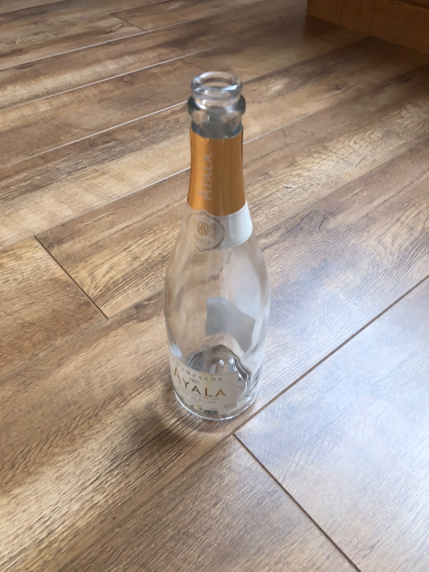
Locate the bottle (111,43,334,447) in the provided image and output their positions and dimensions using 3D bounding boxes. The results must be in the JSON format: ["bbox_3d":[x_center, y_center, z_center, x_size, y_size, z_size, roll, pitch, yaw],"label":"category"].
[{"bbox_3d":[0.009,-0.004,0.357,0.090,0.298,0.091,0,45,0],"label":"bottle"}]
